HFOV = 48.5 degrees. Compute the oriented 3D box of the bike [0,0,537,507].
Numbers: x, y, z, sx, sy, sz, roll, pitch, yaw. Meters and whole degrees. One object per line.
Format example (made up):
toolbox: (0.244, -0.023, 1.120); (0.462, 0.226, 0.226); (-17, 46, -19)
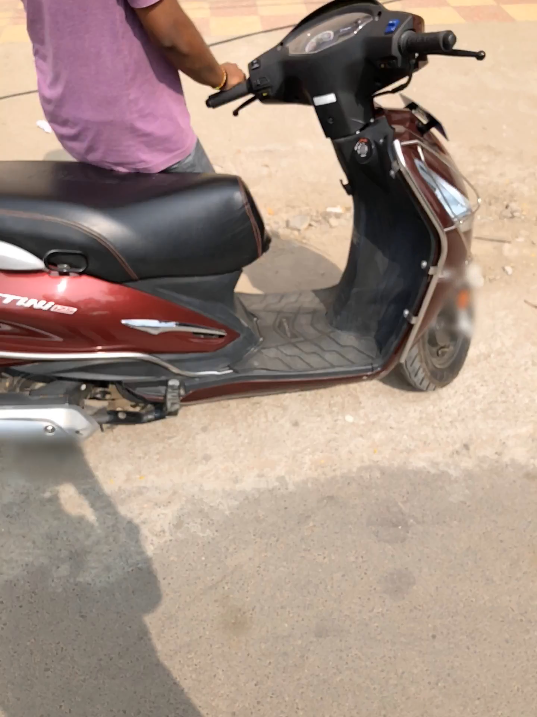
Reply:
bike: (-0.131, -0.367, 1.685); (1.617, 1.126, 0.677); (-12, 48, -10)
